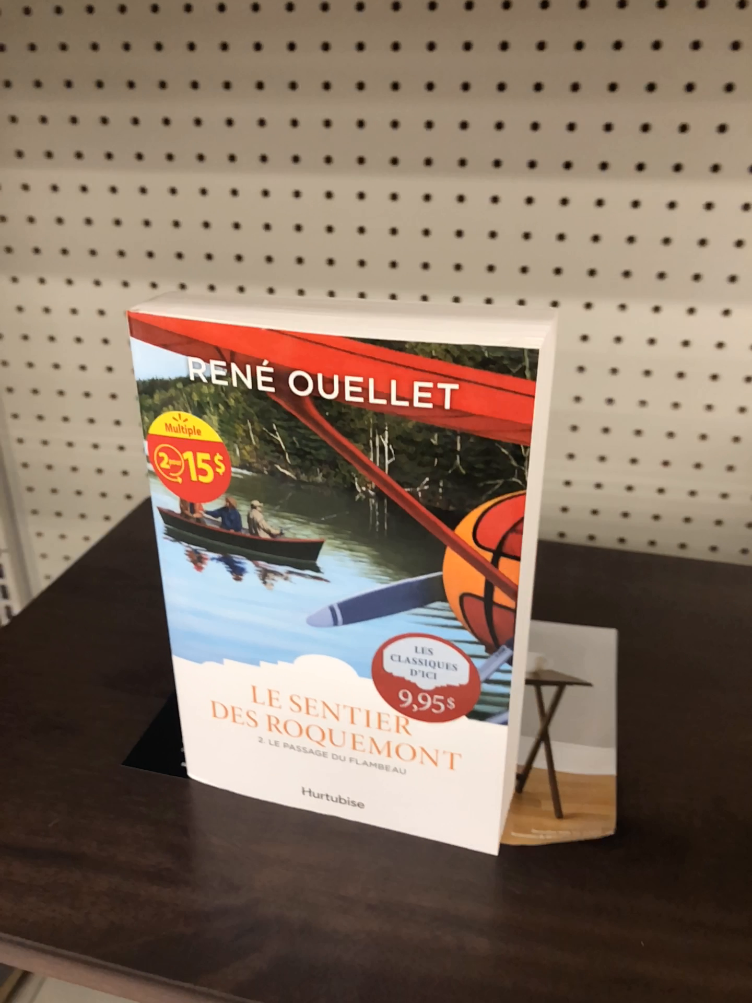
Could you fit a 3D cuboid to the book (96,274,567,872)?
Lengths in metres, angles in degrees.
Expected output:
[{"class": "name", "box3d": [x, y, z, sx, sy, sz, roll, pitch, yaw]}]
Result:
[{"class": "book", "box3d": [-0.015, 0.028, 0.339, 0.153, 0.215, 0.065, 8, 26, 15]}]
